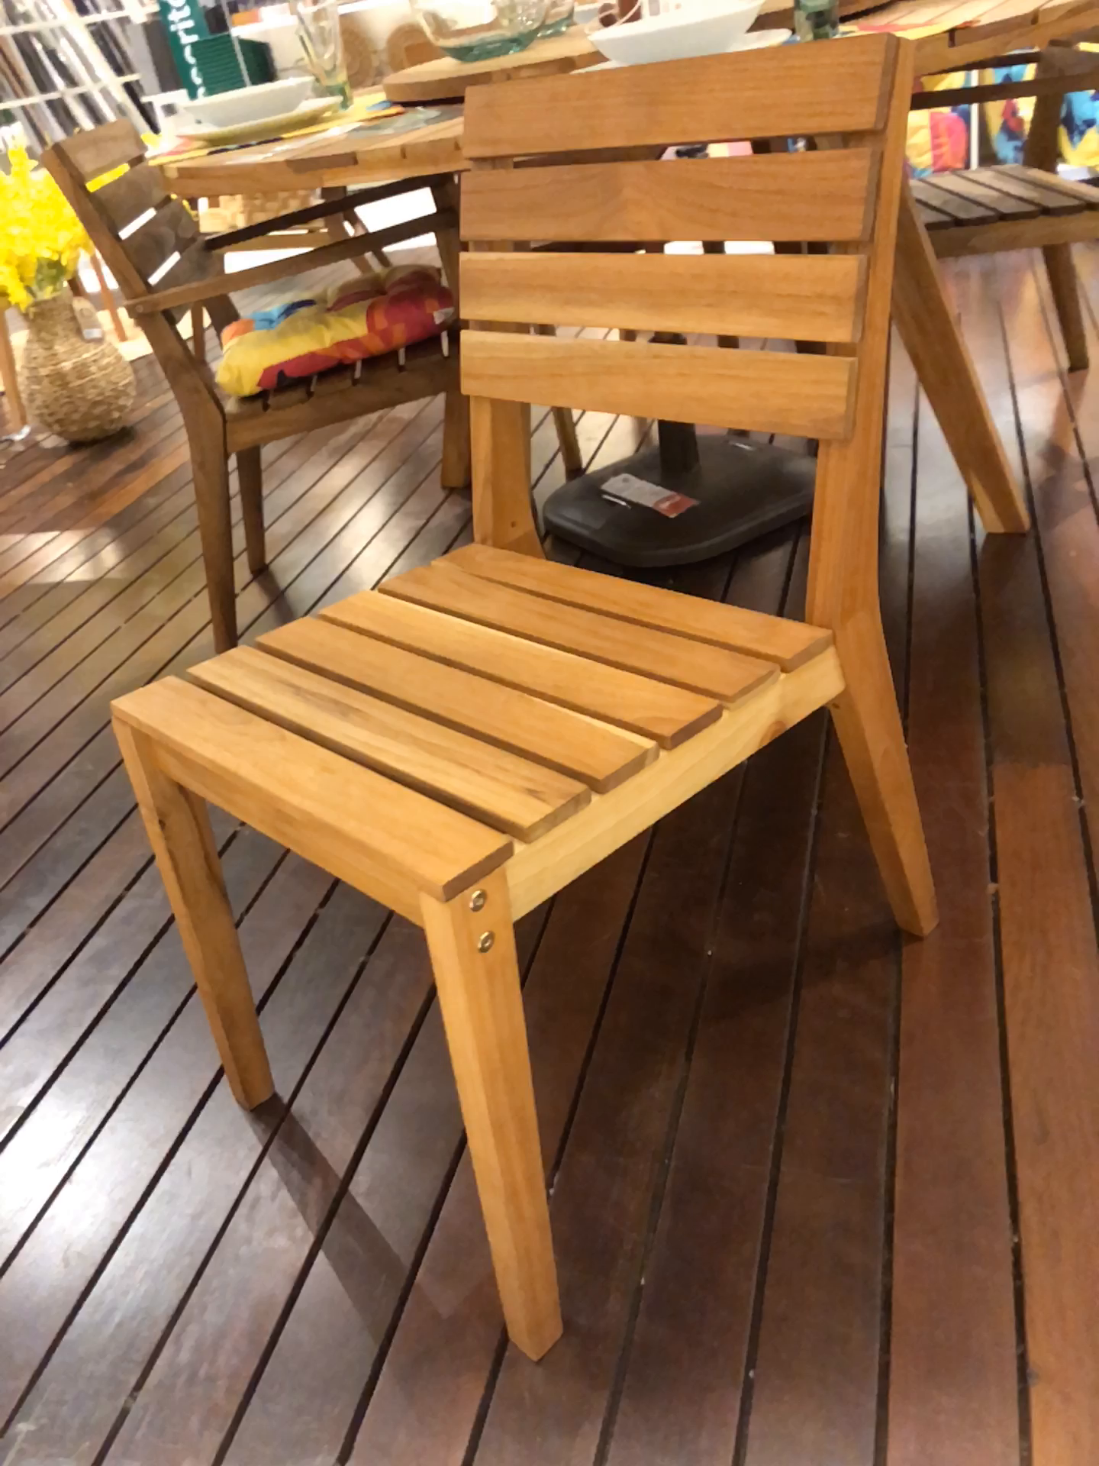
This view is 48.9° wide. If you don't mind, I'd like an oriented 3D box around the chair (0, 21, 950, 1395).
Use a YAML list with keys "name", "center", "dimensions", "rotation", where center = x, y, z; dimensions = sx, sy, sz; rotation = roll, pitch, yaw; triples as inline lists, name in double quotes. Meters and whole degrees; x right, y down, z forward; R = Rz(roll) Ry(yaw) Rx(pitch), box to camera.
- name: "chair"
  center: [-0.047, -0.059, 0.976]
  dimensions: [0.462, 0.764, 0.602]
  rotation: [20, 44, 42]
